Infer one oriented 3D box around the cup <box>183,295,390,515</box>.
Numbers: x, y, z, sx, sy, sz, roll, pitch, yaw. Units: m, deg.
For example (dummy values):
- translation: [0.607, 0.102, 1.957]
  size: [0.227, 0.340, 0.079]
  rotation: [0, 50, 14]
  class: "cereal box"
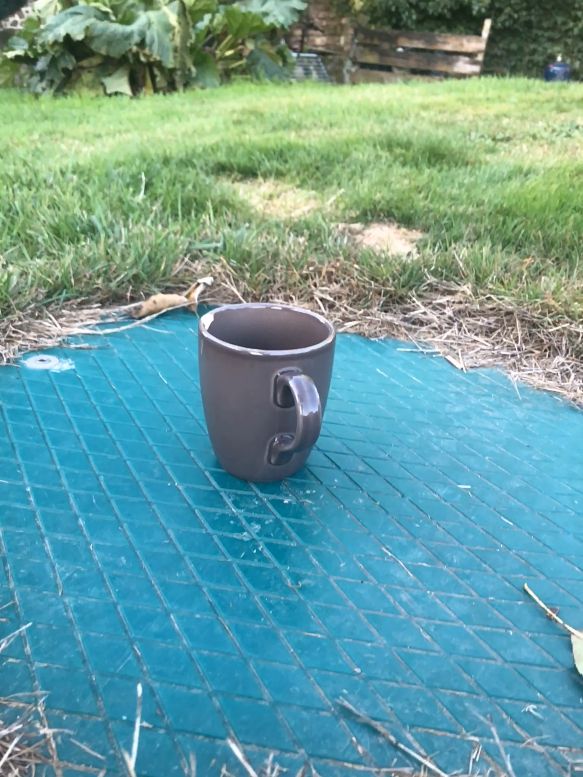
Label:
- translation: [-0.011, 0.002, 0.412]
  size: [0.091, 0.086, 0.126]
  rotation: [-6, 25, -19]
  class: "cup"
